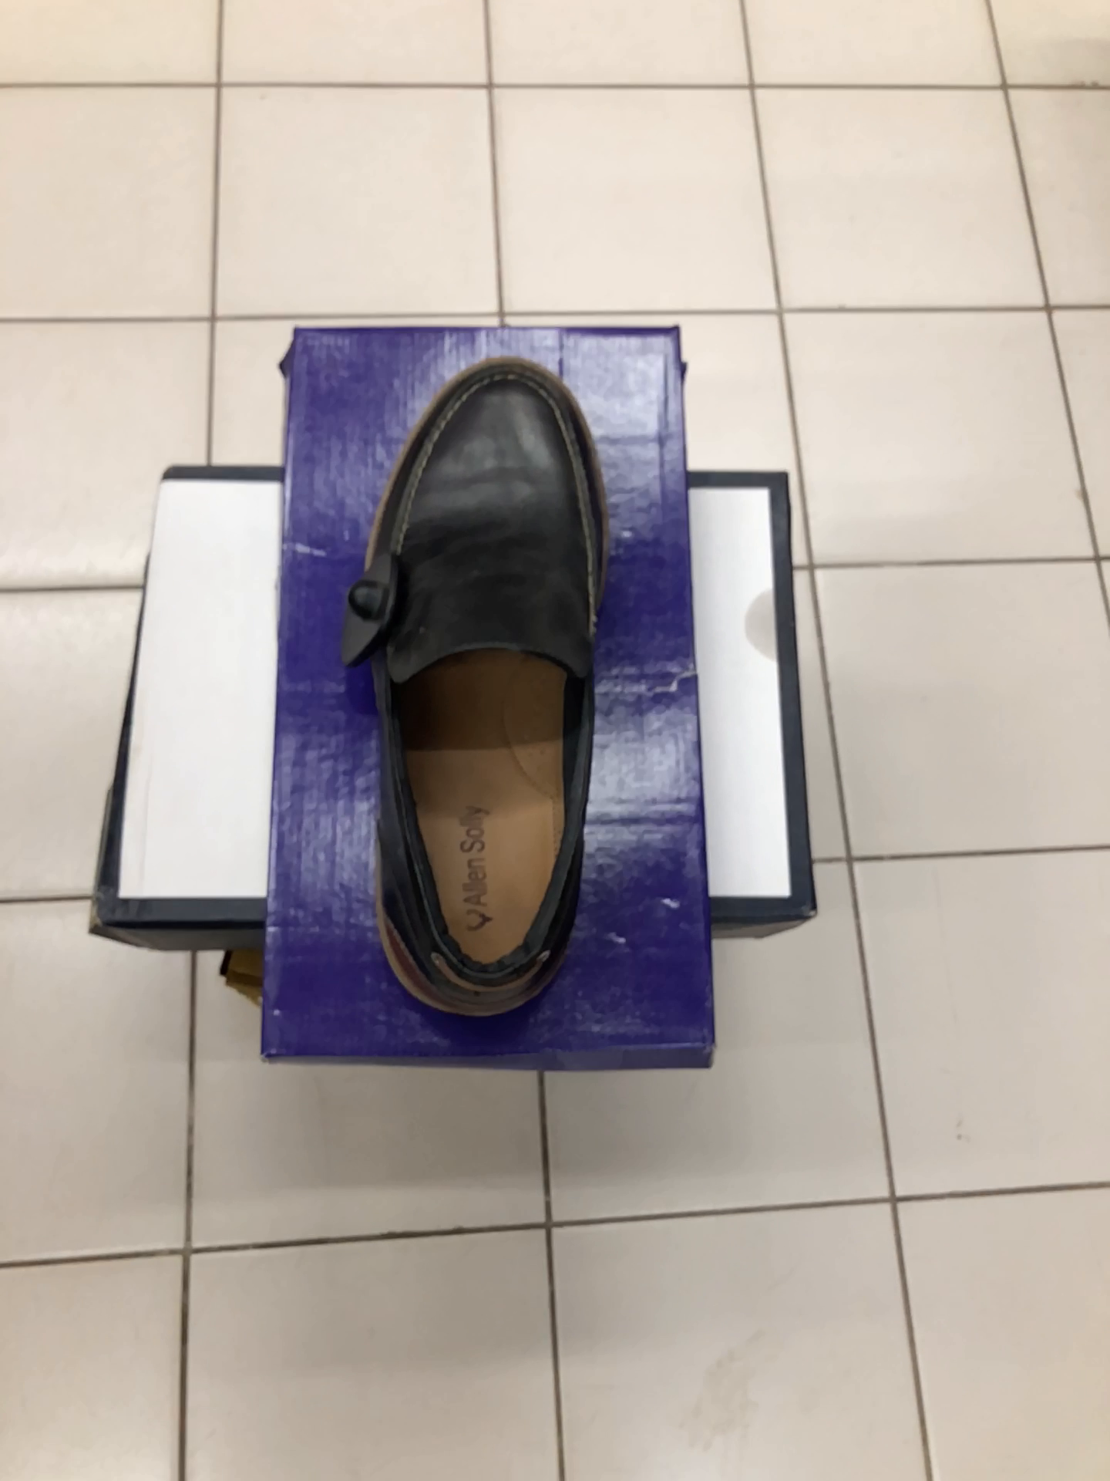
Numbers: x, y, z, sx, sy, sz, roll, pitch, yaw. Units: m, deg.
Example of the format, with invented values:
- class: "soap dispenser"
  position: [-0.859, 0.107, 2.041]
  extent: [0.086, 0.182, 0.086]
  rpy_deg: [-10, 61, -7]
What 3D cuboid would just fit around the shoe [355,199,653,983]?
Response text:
- class: "shoe"
  position: [-0.025, -0.059, 0.511]
  extent: [0.100, 0.110, 0.301]
  rpy_deg: [-1, 73, -5]
